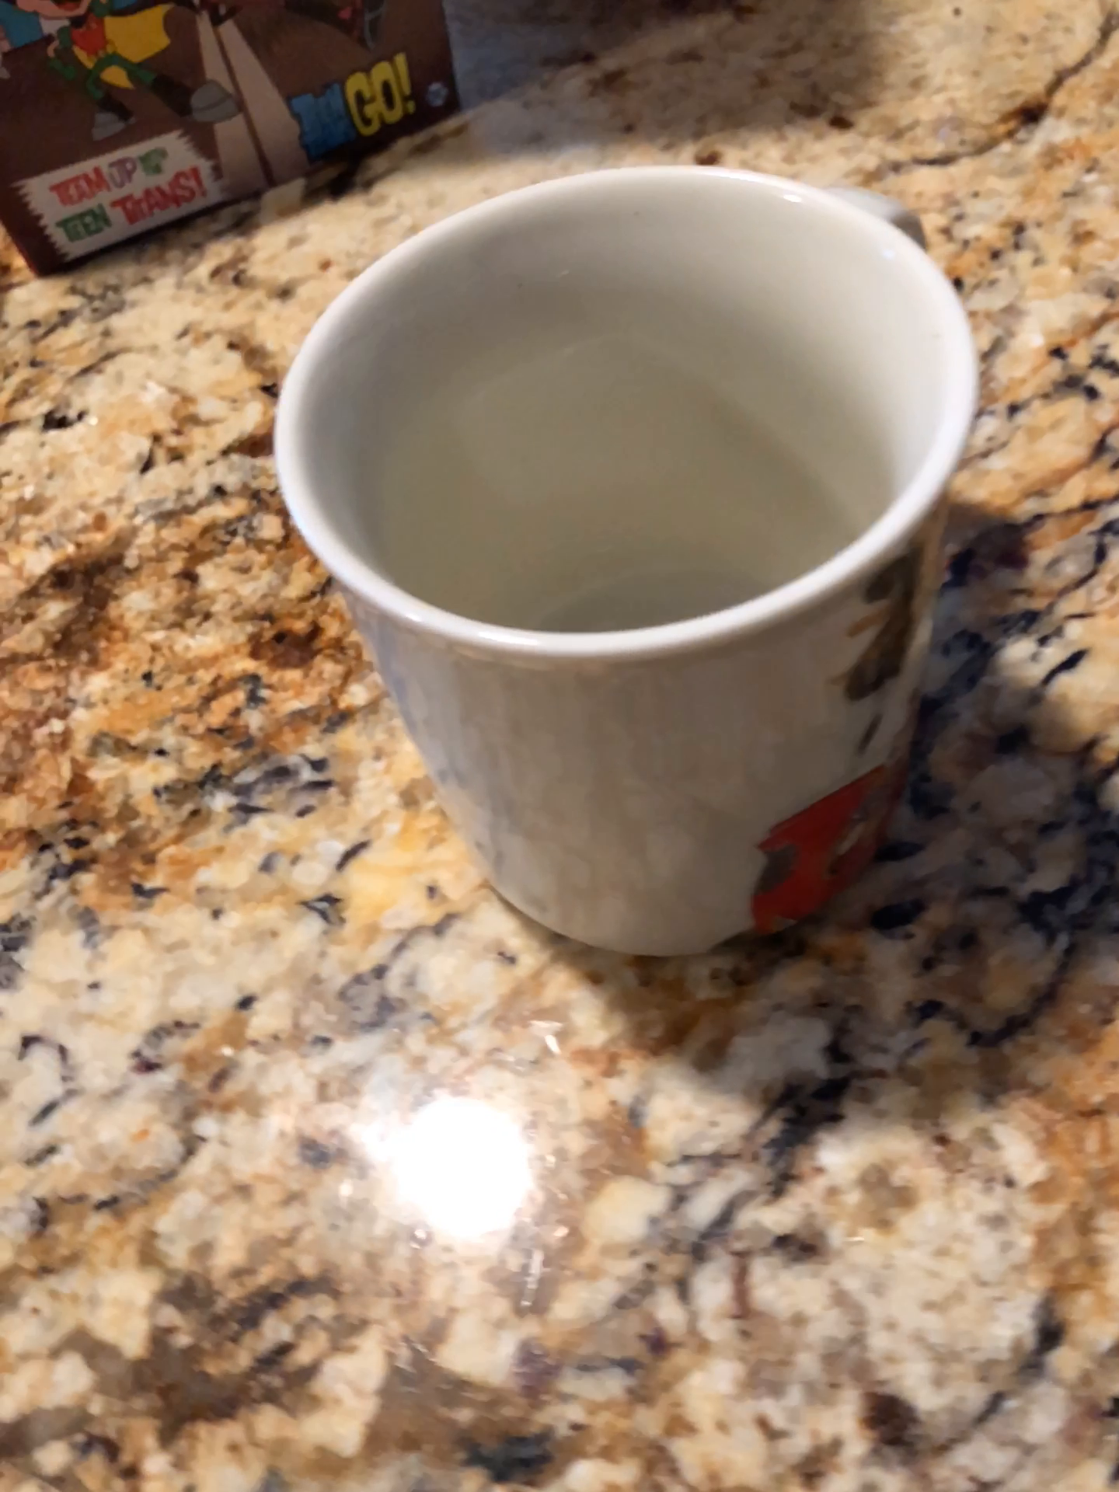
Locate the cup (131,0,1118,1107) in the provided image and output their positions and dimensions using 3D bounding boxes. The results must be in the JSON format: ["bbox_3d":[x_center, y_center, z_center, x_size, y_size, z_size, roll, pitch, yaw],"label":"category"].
[{"bbox_3d":[0.026,-0.034,0.188,0.090,0.090,0.120,23,63,23],"label":"cup"}]
